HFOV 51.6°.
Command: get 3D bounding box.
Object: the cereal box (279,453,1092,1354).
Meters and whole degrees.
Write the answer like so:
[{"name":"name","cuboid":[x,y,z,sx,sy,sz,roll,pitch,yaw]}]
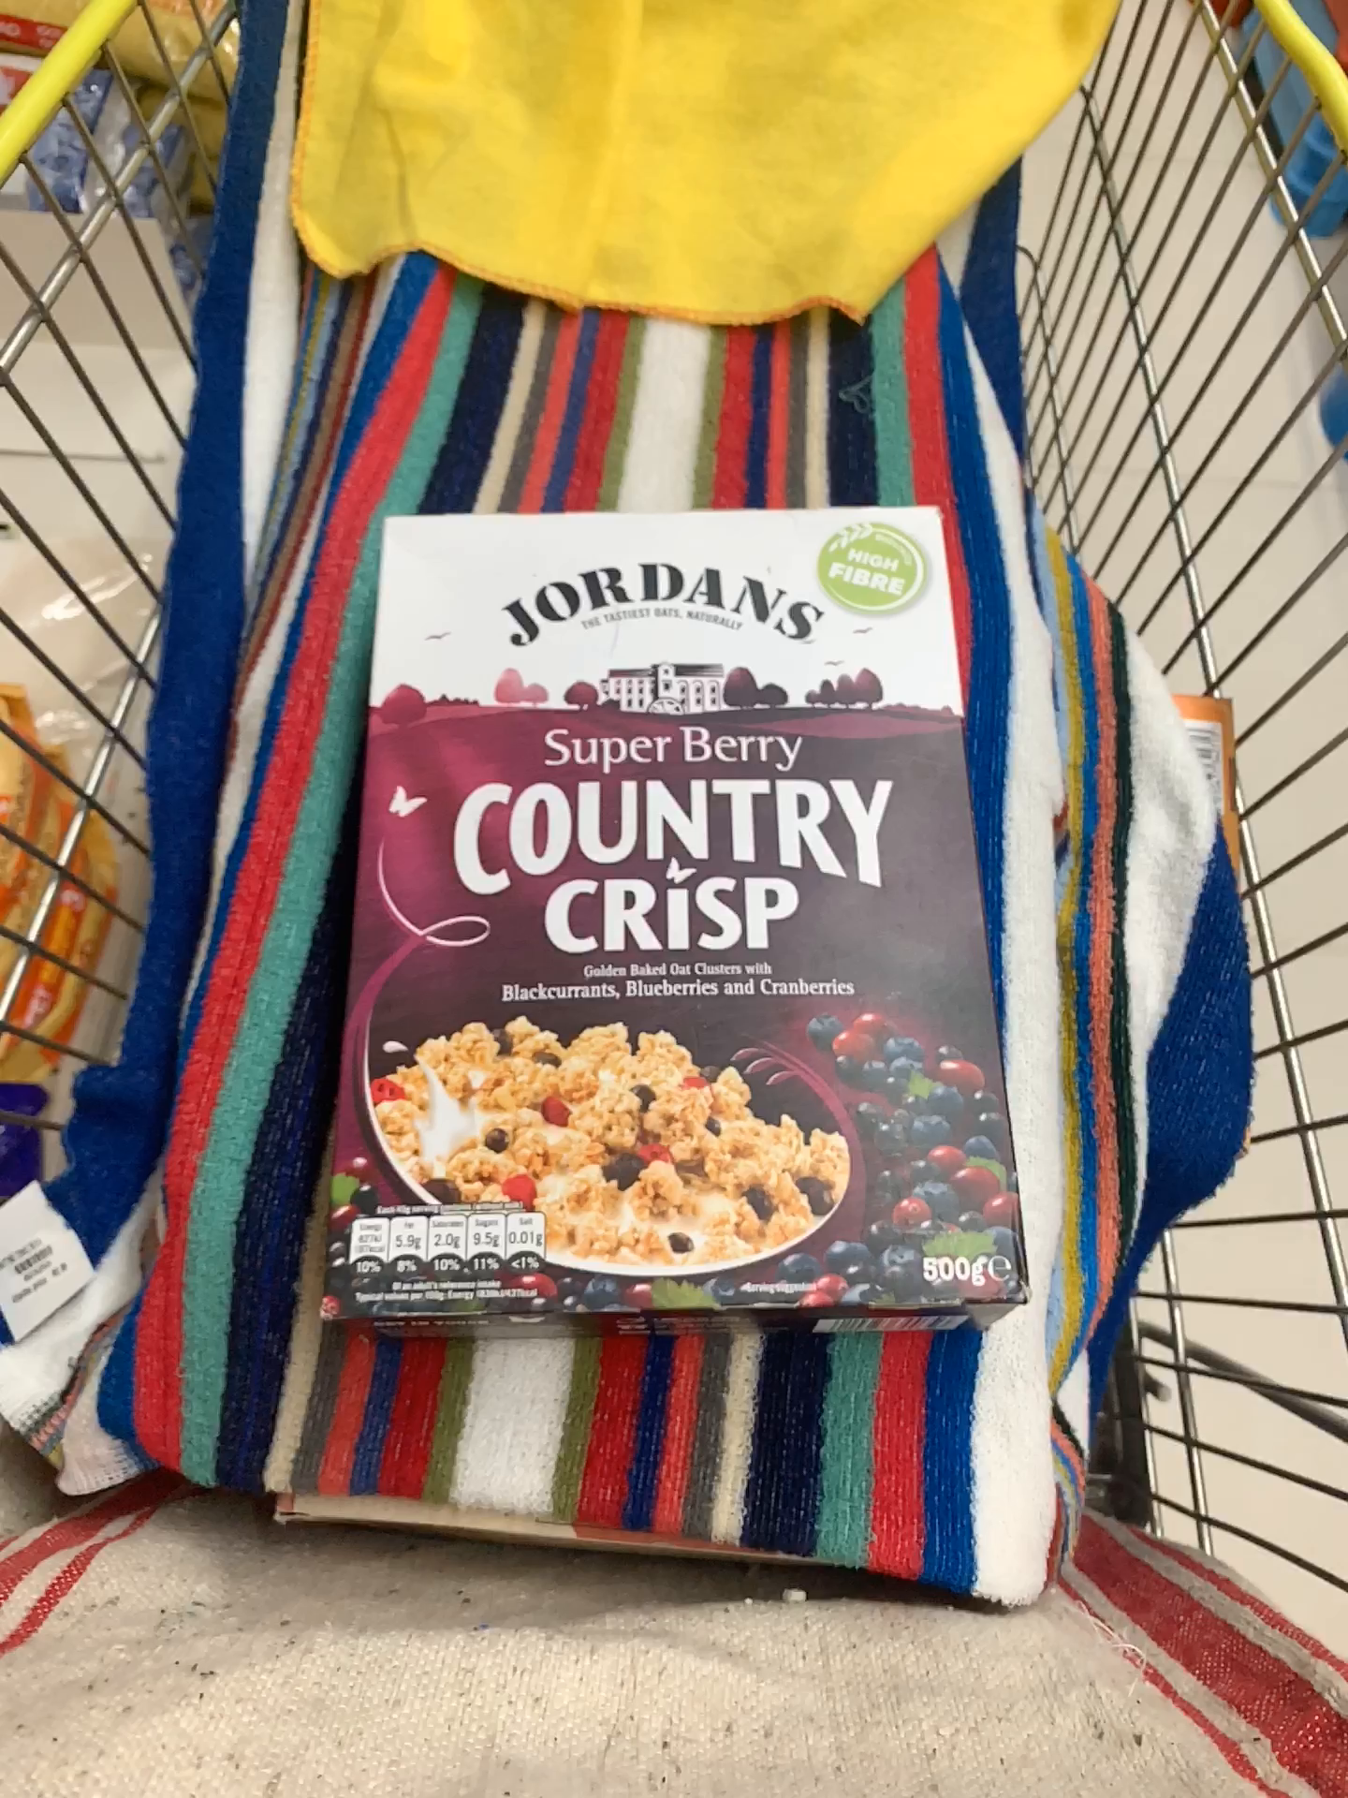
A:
[{"name":"cereal box","cuboid":[0.001,-0.005,0.386,0.180,0.060,0.240,-2,65,1]}]
